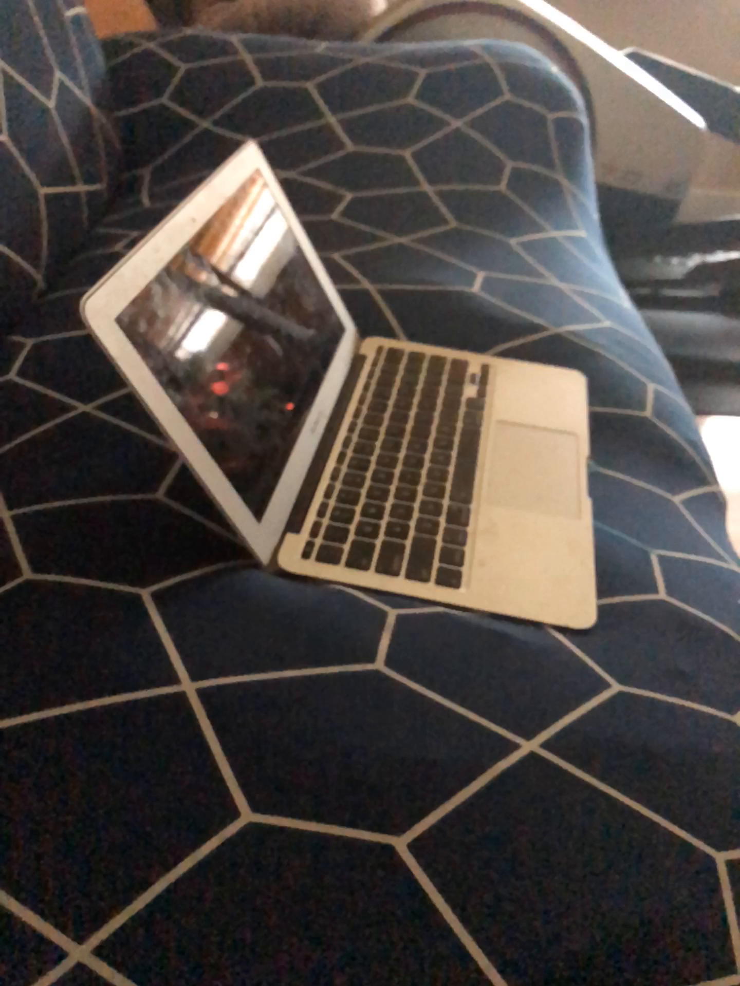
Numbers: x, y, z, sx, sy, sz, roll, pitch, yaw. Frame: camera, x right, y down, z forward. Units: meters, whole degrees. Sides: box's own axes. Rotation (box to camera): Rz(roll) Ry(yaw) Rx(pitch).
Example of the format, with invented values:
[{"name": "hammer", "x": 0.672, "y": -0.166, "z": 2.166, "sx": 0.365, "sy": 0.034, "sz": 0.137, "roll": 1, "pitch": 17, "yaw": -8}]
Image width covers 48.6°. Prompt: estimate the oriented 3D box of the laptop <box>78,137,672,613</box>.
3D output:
[{"name": "laptop", "x": 0.020, "y": -0.099, "z": 0.539, "sx": 0.279, "sy": 0.156, "sz": 0.283, "roll": 9, "pitch": 38, "yaw": 5}]
